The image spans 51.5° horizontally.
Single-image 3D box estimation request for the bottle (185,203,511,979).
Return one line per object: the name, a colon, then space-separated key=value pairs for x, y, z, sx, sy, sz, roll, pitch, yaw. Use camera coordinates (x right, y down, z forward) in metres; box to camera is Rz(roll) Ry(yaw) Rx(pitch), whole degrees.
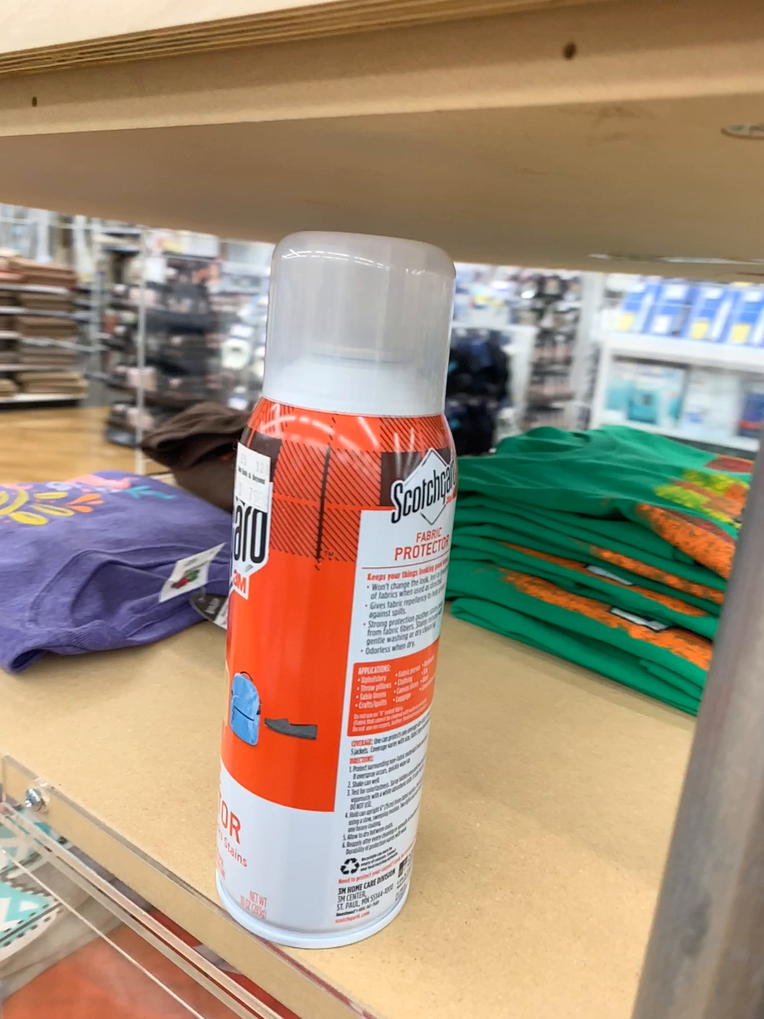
bottle: x=-0.013 y=0.025 z=0.237 sx=0.067 sy=0.206 sz=0.069 roll=5 pitch=15 yaw=-1
